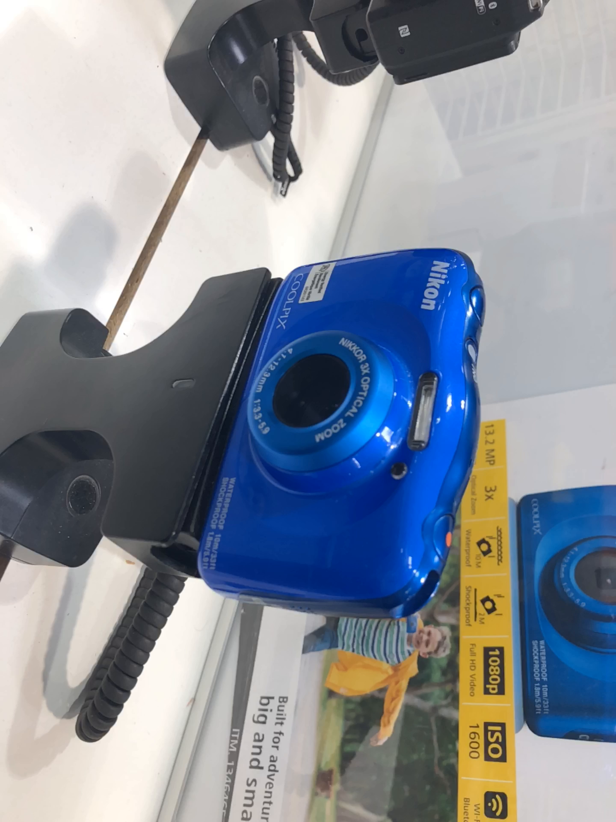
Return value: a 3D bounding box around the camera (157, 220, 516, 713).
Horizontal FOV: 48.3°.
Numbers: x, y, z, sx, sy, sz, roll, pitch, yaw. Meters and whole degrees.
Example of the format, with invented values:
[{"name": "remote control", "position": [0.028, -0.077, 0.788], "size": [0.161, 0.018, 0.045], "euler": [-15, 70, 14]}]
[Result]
[{"name": "camera", "position": [0.017, 0.013, 0.211], "size": [0.050, 0.070, 0.130], "euler": [50, 46, -46]}]
